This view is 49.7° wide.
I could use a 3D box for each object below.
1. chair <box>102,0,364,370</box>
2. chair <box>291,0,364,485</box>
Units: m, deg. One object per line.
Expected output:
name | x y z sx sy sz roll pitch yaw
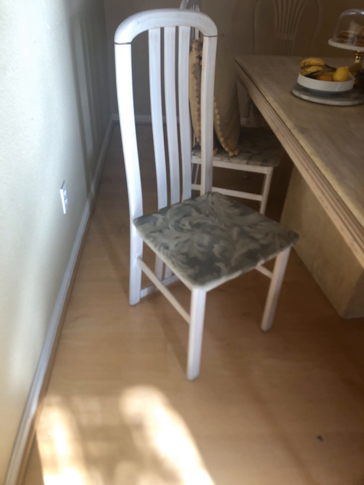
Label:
chair | 0.161 -0.302 1.683 0.633 1.448 0.672 -21 40 -29
chair | 0.759 0.392 0.679 0.631 1.289 0.594 28 43 26
